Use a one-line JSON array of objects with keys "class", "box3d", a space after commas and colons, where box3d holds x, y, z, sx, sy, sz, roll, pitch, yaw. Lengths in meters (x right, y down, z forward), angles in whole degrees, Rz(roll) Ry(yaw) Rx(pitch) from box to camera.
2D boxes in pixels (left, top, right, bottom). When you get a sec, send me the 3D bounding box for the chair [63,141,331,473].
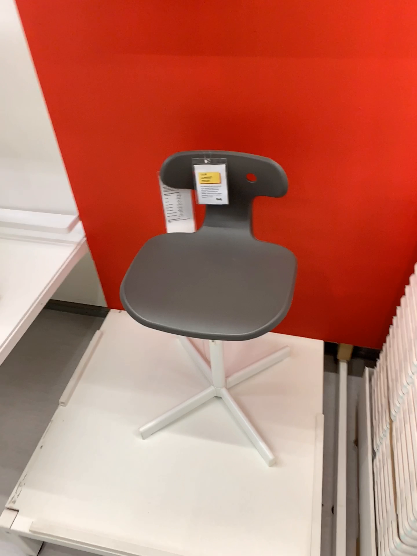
[{"class": "chair", "box3d": [0.031, 0.081, 1.106, 0.460, 0.697, 0.452, 6, 42, 12]}]
